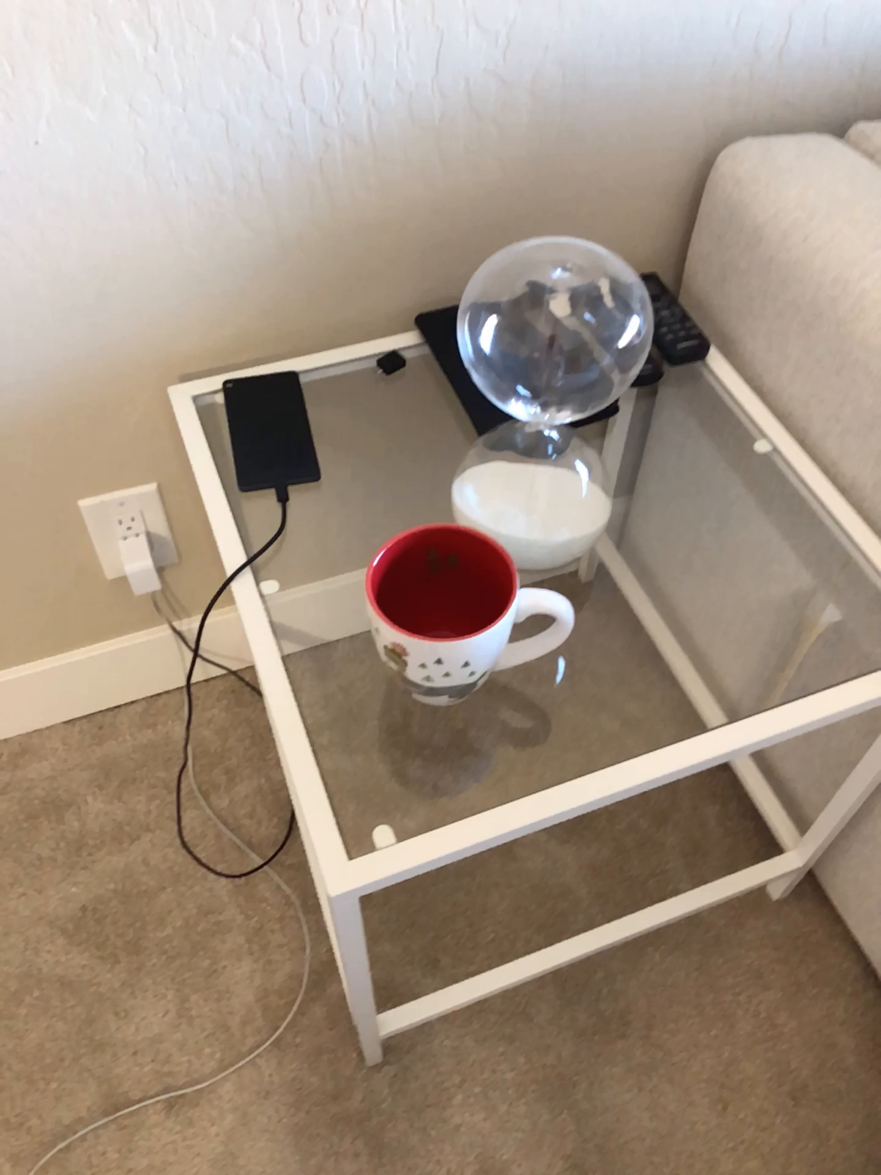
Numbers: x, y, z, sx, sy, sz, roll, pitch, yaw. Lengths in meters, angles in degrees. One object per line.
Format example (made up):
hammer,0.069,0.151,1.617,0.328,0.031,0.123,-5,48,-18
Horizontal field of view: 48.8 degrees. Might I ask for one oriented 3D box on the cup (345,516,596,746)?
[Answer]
cup,0.021,0.030,0.654,0.150,0.110,0.100,4,52,2
